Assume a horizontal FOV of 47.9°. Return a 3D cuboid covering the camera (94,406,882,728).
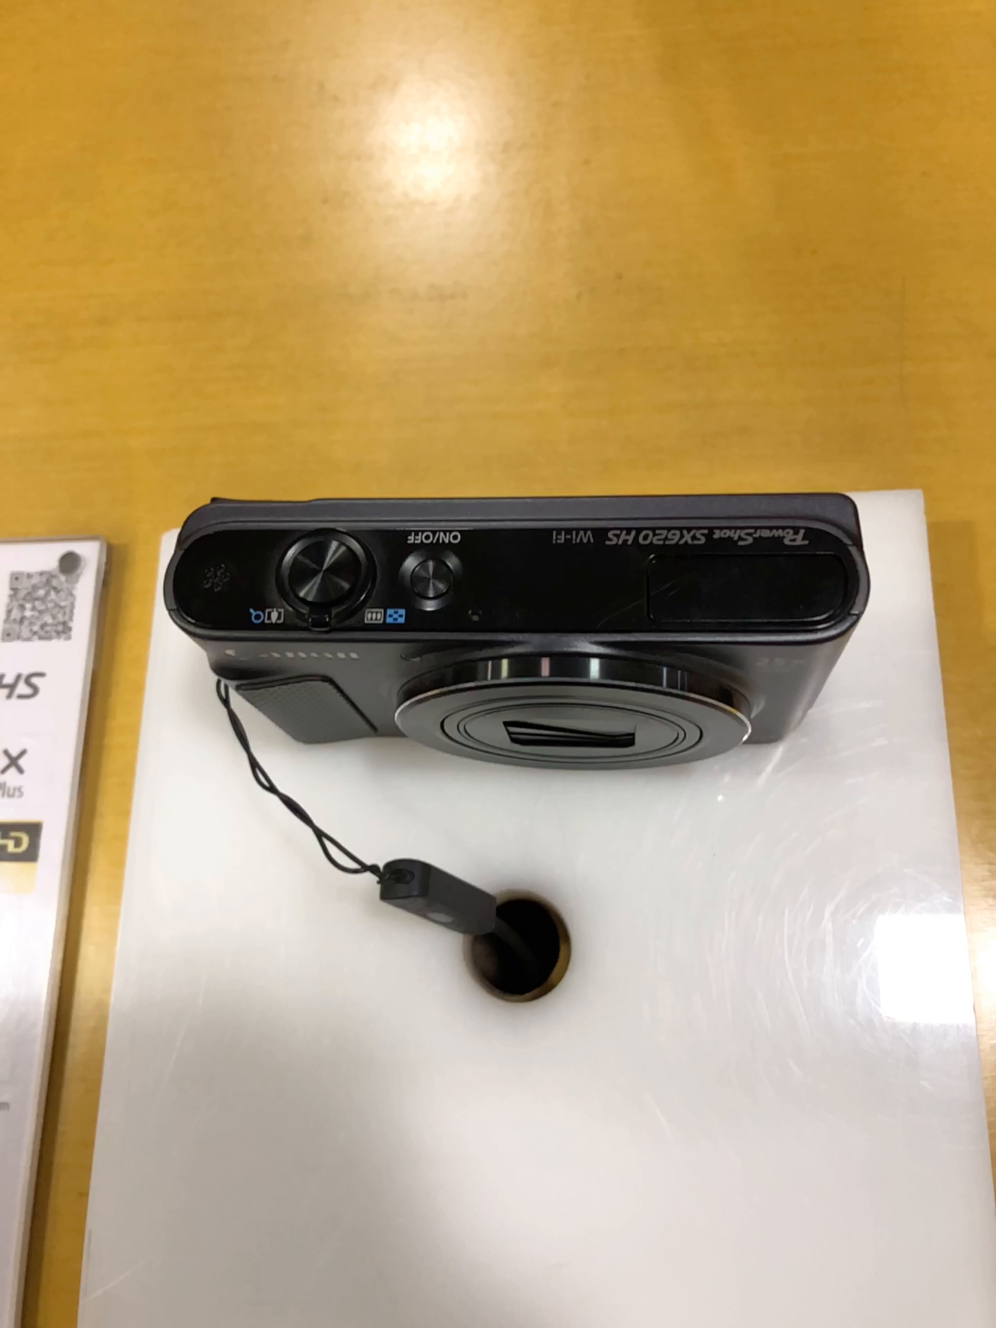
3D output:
[{"bbox_3d":[0.000,-0.012,0.188,0.110,0.060,0.030,-2,73,6],"label":"camera"}]
